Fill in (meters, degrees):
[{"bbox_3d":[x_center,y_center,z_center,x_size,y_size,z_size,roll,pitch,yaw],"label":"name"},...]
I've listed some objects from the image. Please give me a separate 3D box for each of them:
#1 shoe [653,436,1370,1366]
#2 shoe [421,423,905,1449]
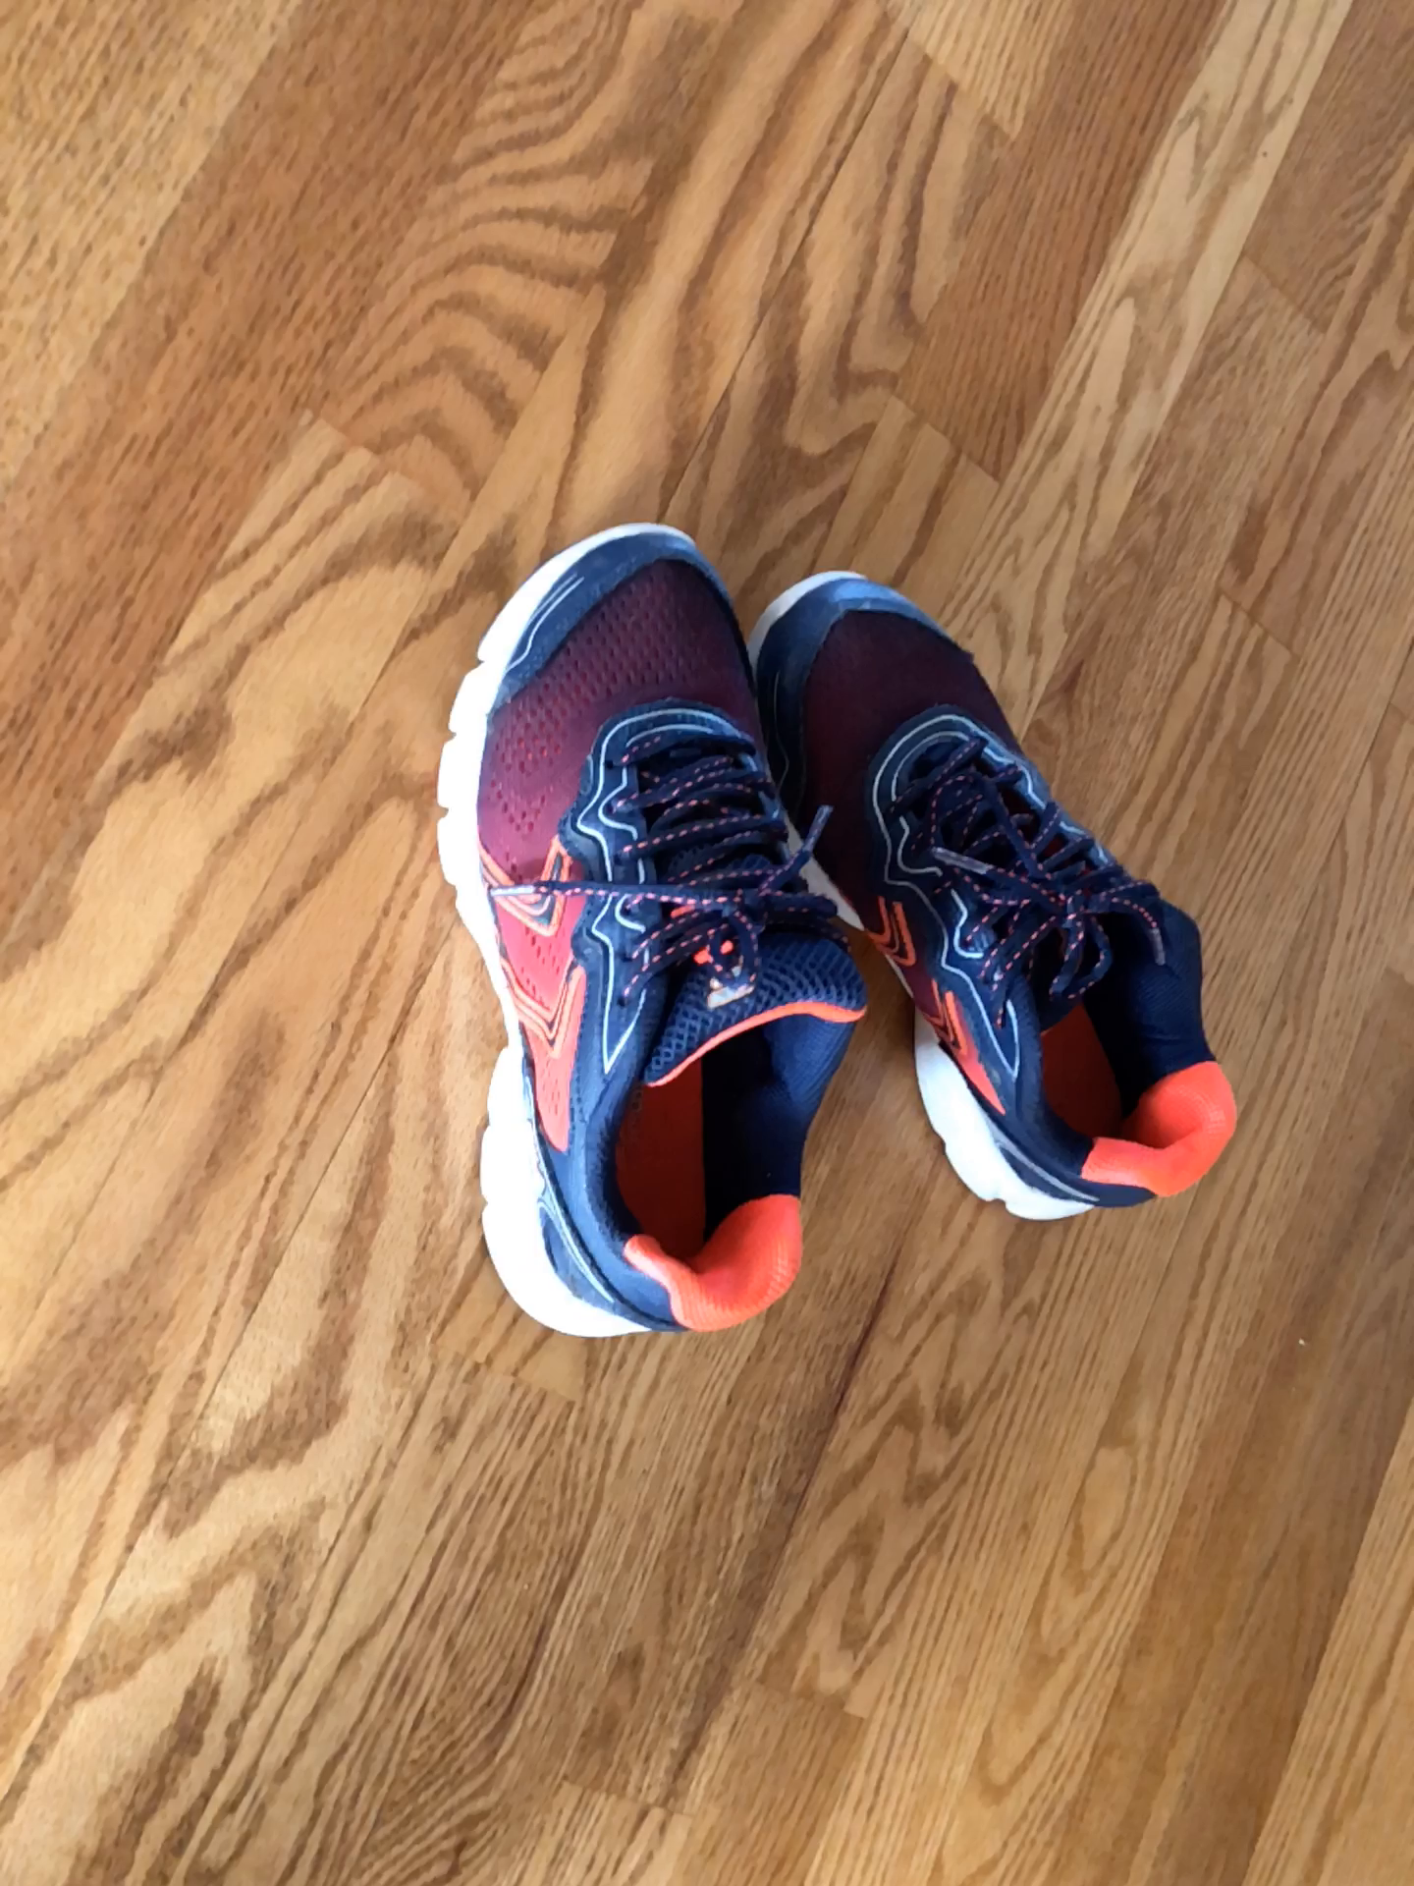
[{"bbox_3d":[0.109,-0.012,0.548,0.116,0.109,0.277,-31,104,-24],"label":"shoe"},{"bbox_3d":[-0.017,-0.003,0.481,0.108,0.109,0.270,-1,91,-28],"label":"shoe"}]
